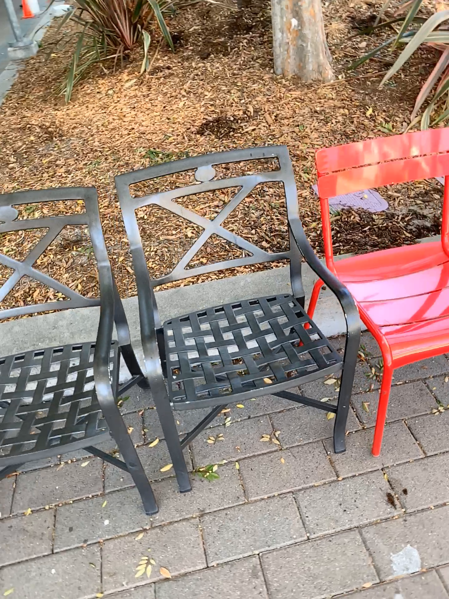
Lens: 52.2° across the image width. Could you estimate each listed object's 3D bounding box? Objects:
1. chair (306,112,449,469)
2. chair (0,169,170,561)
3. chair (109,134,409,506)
[{"bbox_3d":[0.673,-0.037,1.466,0.620,0.815,0.644,-11,39,-6],"label":"chair"},{"bbox_3d":[-0.575,0.180,1.383,0.620,0.815,0.695,-11,39,-6],"label":"chair"},{"bbox_3d":[0.049,0.050,1.449,0.620,0.815,0.695,-11,39,-6],"label":"chair"}]
